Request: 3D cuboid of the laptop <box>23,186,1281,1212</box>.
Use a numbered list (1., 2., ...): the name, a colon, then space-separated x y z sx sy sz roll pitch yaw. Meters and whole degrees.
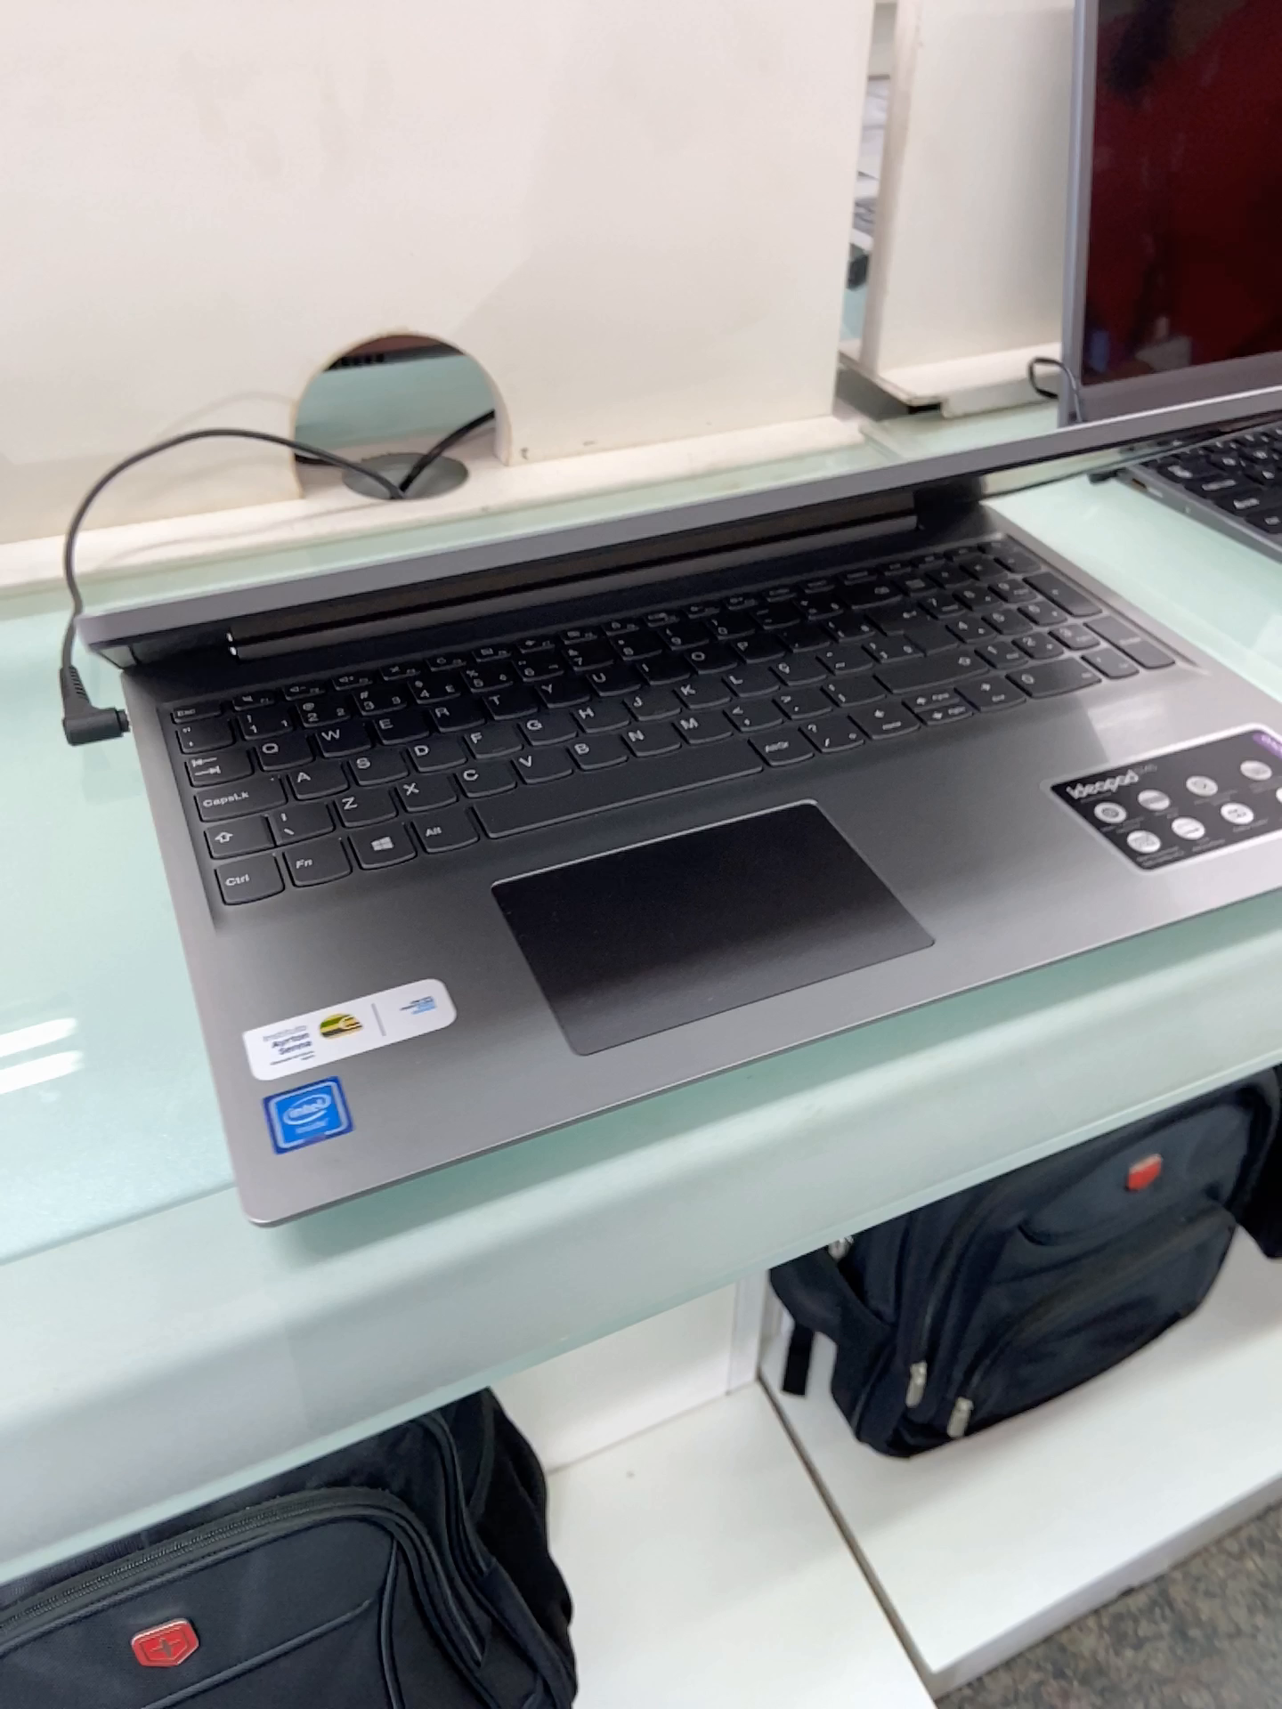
1. laptop: 0.034 -0.089 0.396 0.364 0.127 0.250 -15 41 -19
